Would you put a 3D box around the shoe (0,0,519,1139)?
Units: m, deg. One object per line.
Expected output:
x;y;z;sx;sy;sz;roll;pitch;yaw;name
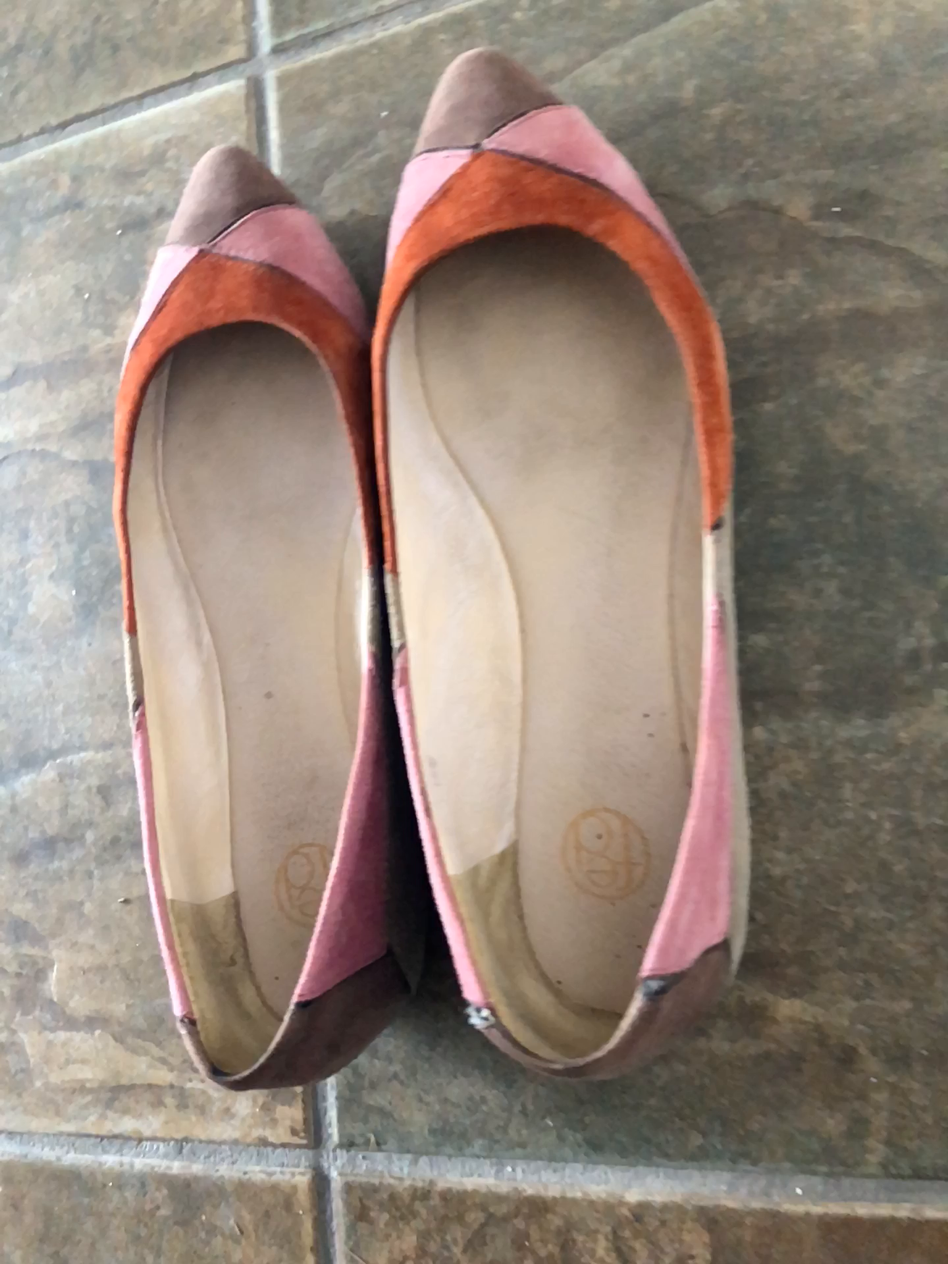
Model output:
-0.061;-0.018;0.283;0.090;0.070;0.270;-11;81;20;shoe

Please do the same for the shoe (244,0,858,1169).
0.017;-0.032;0.243;0.090;0.070;0.270;-10;82;20;shoe
